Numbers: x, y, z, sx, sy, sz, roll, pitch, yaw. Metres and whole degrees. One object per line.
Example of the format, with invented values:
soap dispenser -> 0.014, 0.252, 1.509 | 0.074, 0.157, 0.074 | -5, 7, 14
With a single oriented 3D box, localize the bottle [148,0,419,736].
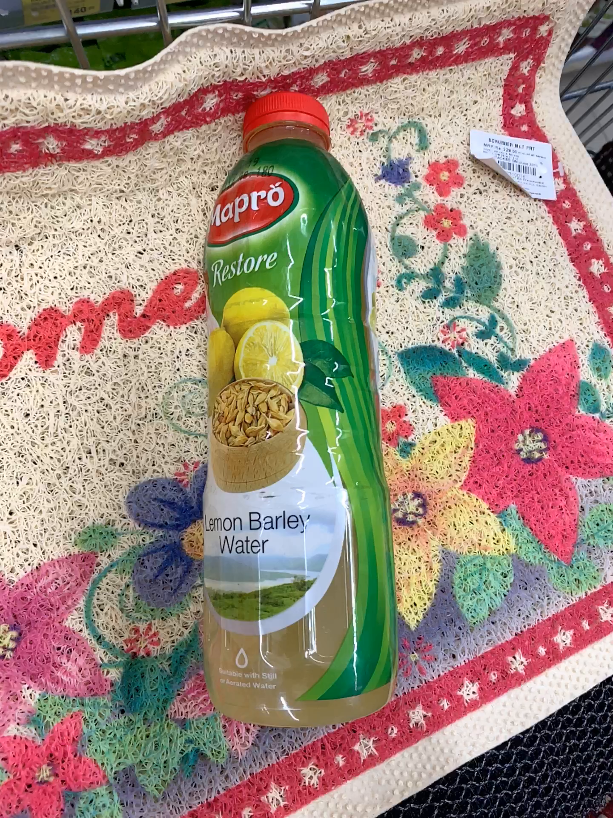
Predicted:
bottle -> -0.008, -0.020, 0.277 | 0.080, 0.090, 0.270 | -6, 78, 18
